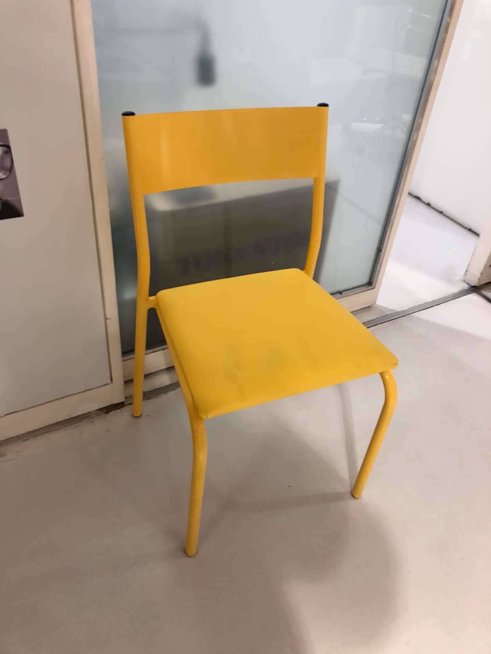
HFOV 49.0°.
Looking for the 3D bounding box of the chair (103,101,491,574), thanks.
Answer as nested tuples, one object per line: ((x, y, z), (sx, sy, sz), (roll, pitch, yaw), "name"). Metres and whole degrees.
((0.028, 0.013, 1.162), (0.491, 0.784, 0.523), (-12, 42, -21), "chair")
